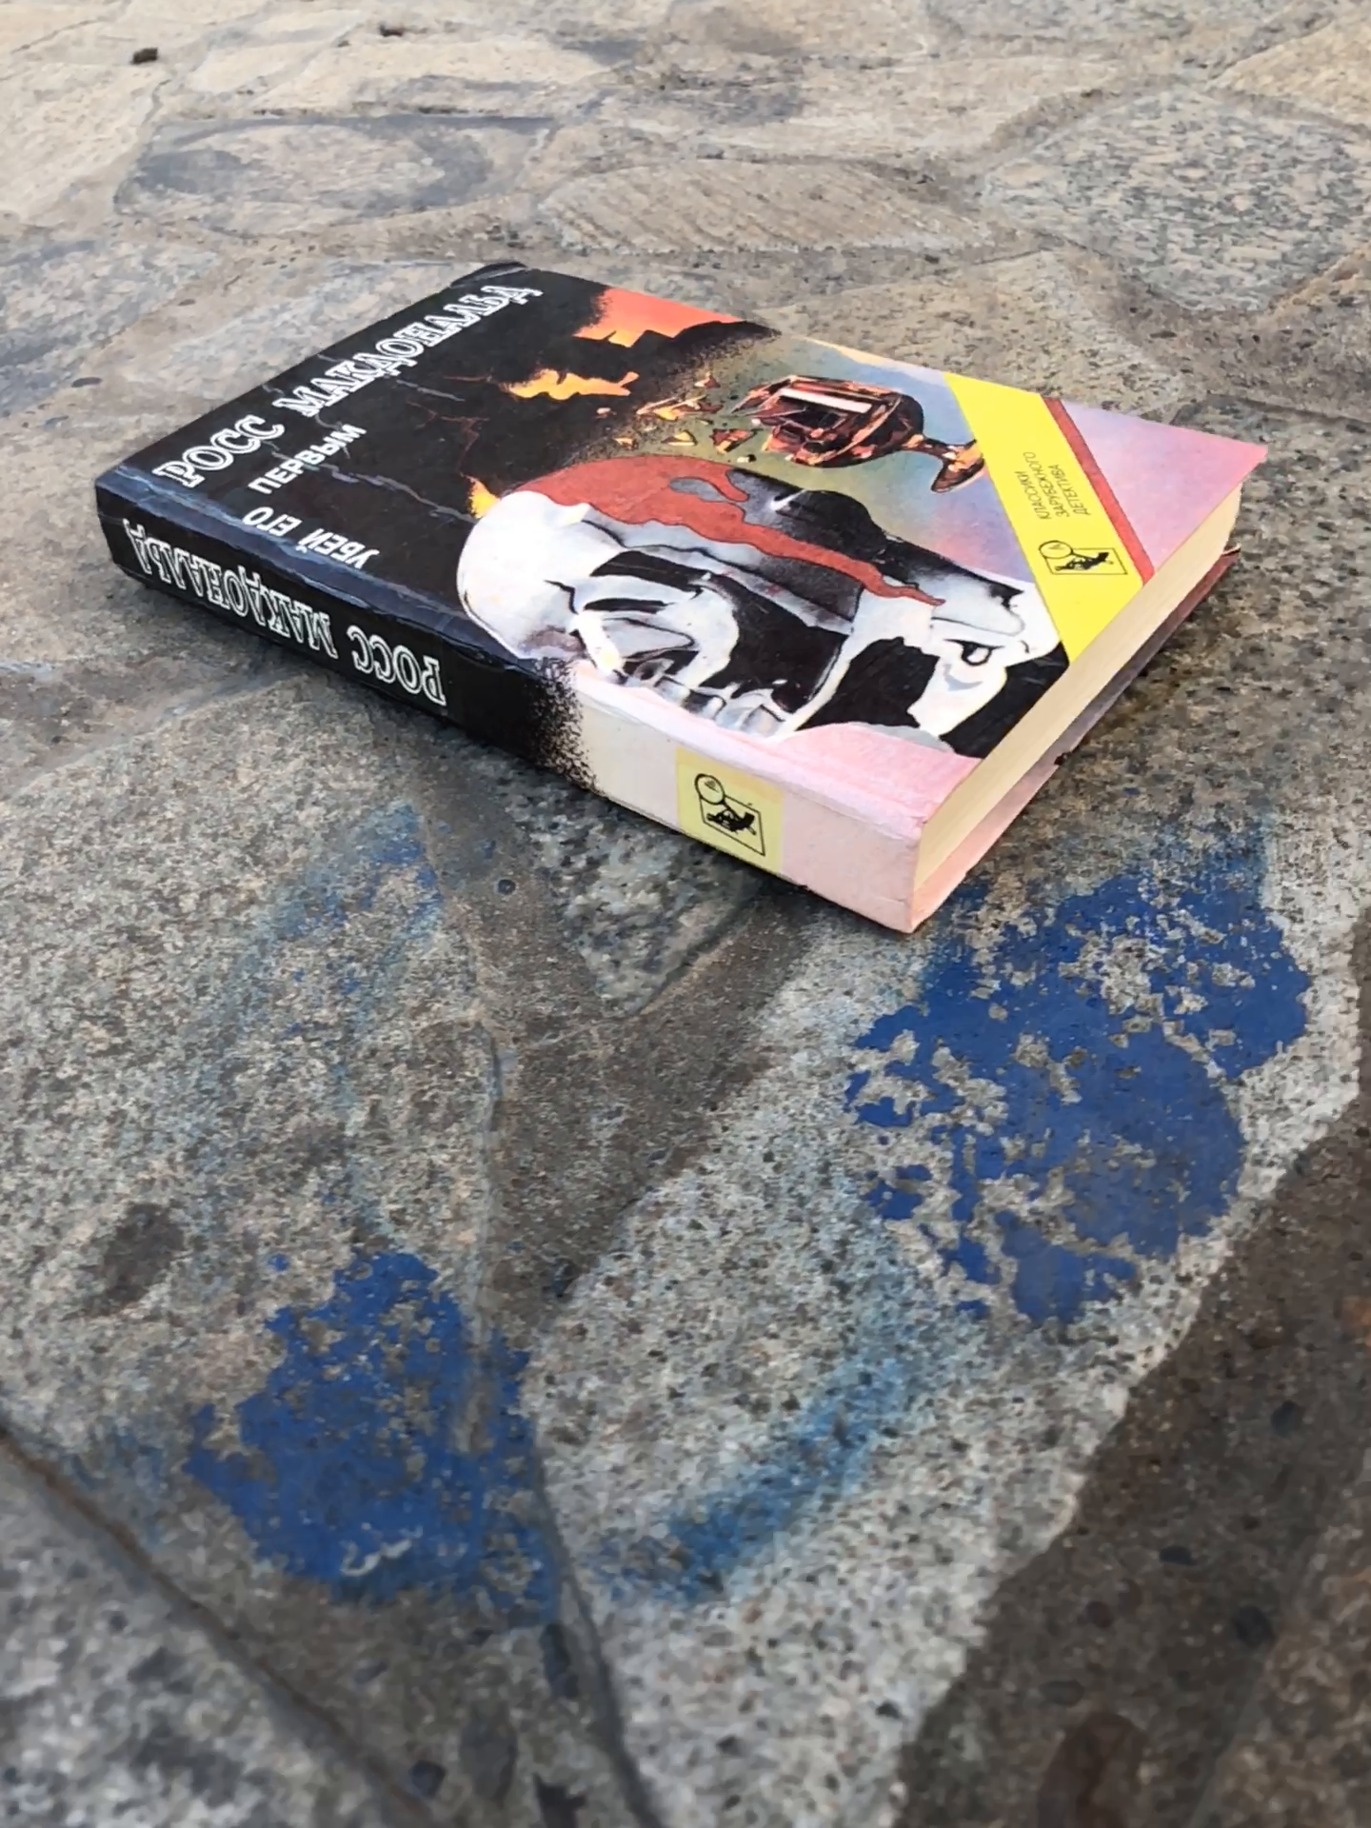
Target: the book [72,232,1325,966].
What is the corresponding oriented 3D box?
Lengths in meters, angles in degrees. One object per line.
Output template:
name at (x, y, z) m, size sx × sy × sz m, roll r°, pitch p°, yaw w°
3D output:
book at (-0.001, -0.084, 0.317) m, size 0.210 × 0.030 × 0.140 m, roll 25°, pitch 52°, yaw 28°
